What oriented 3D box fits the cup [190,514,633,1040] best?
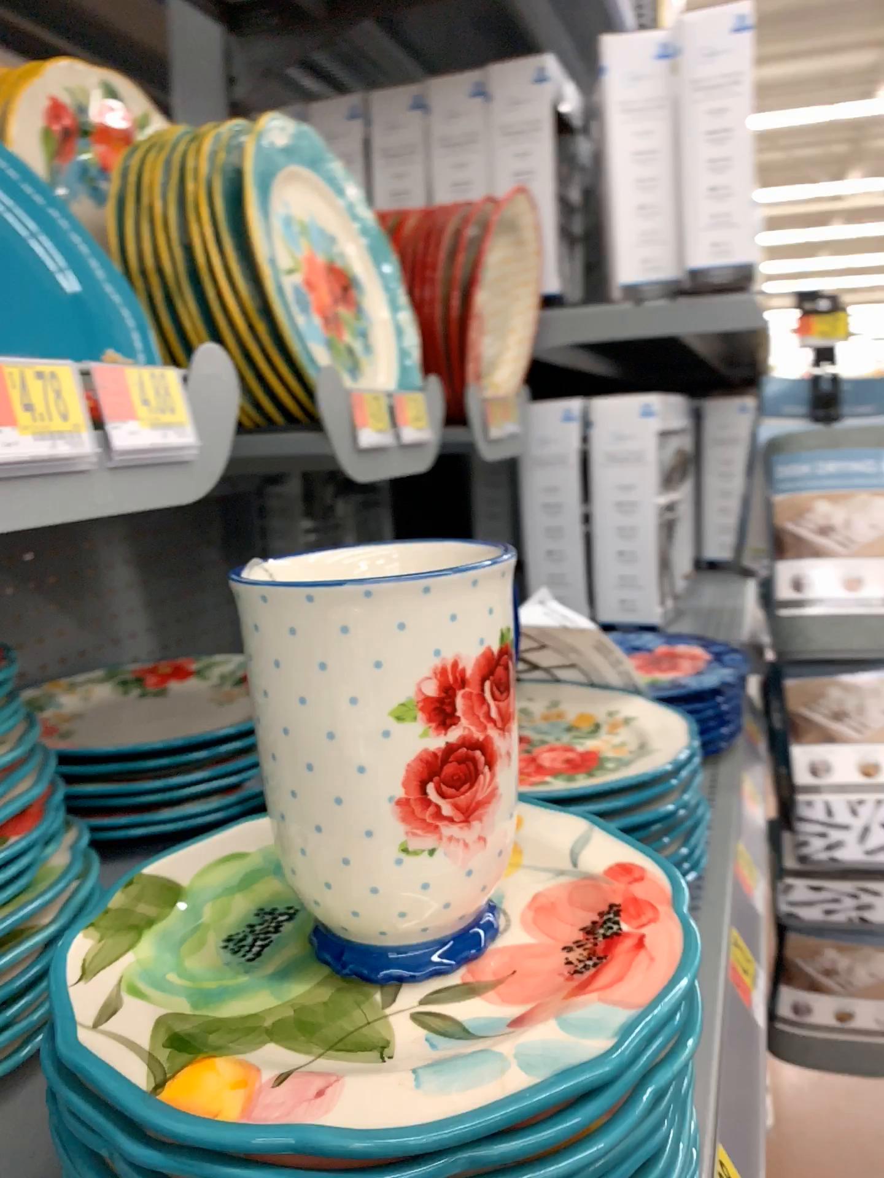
[{"bbox_3d":[0.000,0.046,0.319,0.090,0.130,0.130,2,11,30],"label":"cup"}]
